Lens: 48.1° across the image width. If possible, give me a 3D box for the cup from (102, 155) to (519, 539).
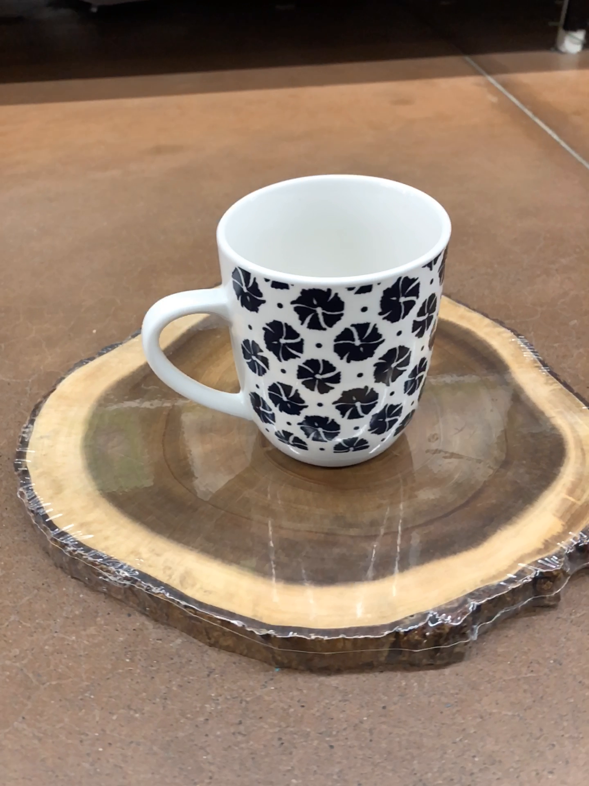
[{"bbox_3d":[0.003,-0.025,0.276,0.130,0.100,0.090,-16,41,-16],"label":"cup"}]
